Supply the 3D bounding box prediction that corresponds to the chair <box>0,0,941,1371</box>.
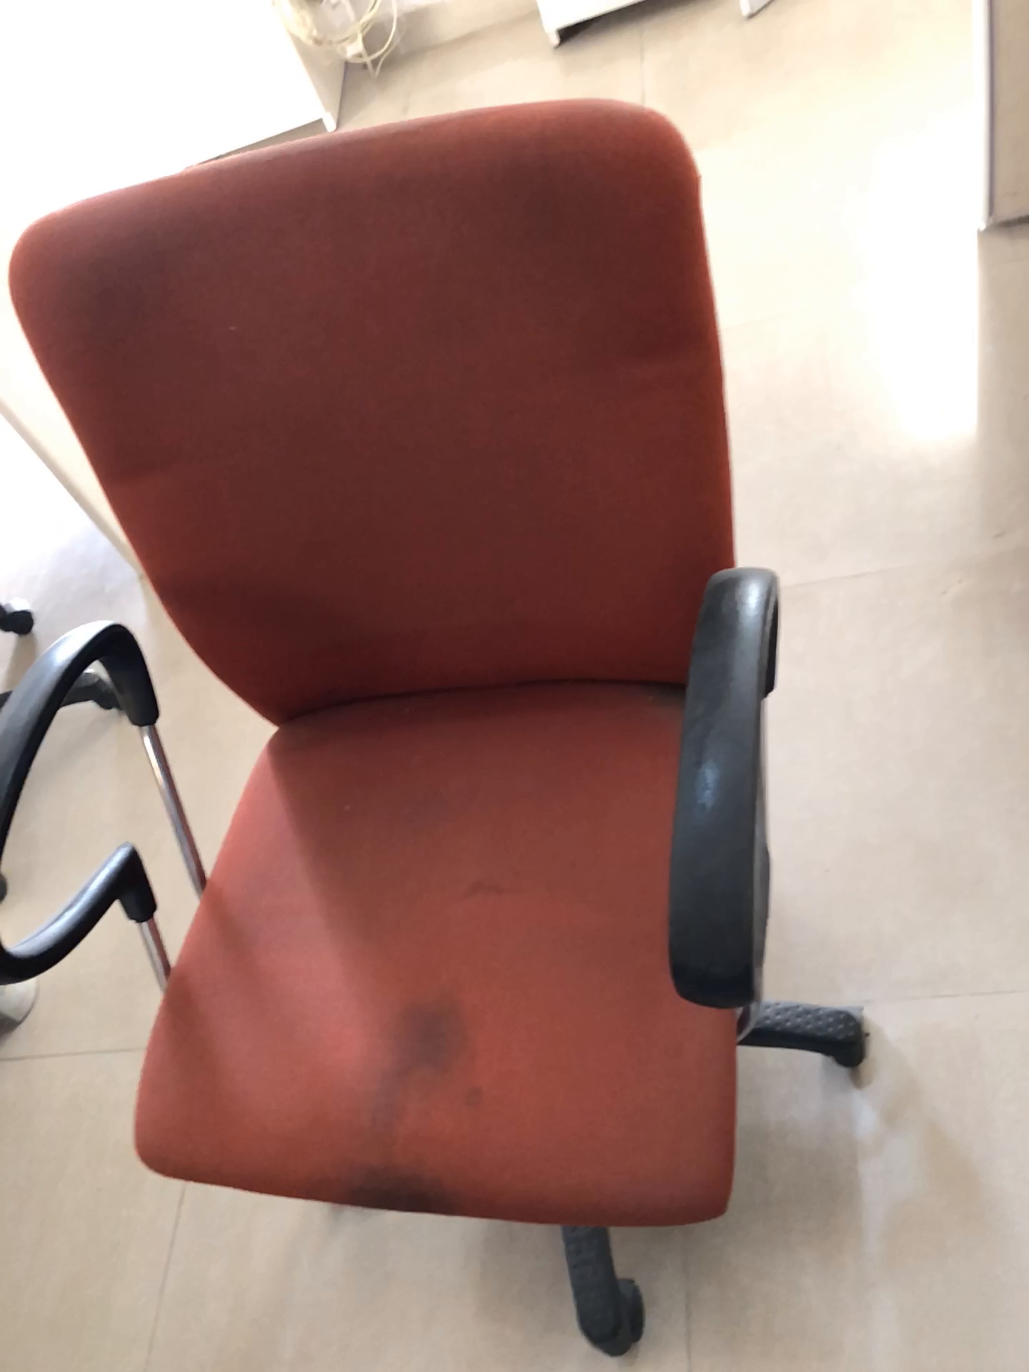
[{"bbox_3d":[-0.052,0.140,1.036,0.770,1.045,0.703,-3,54,21],"label":"chair"}]
